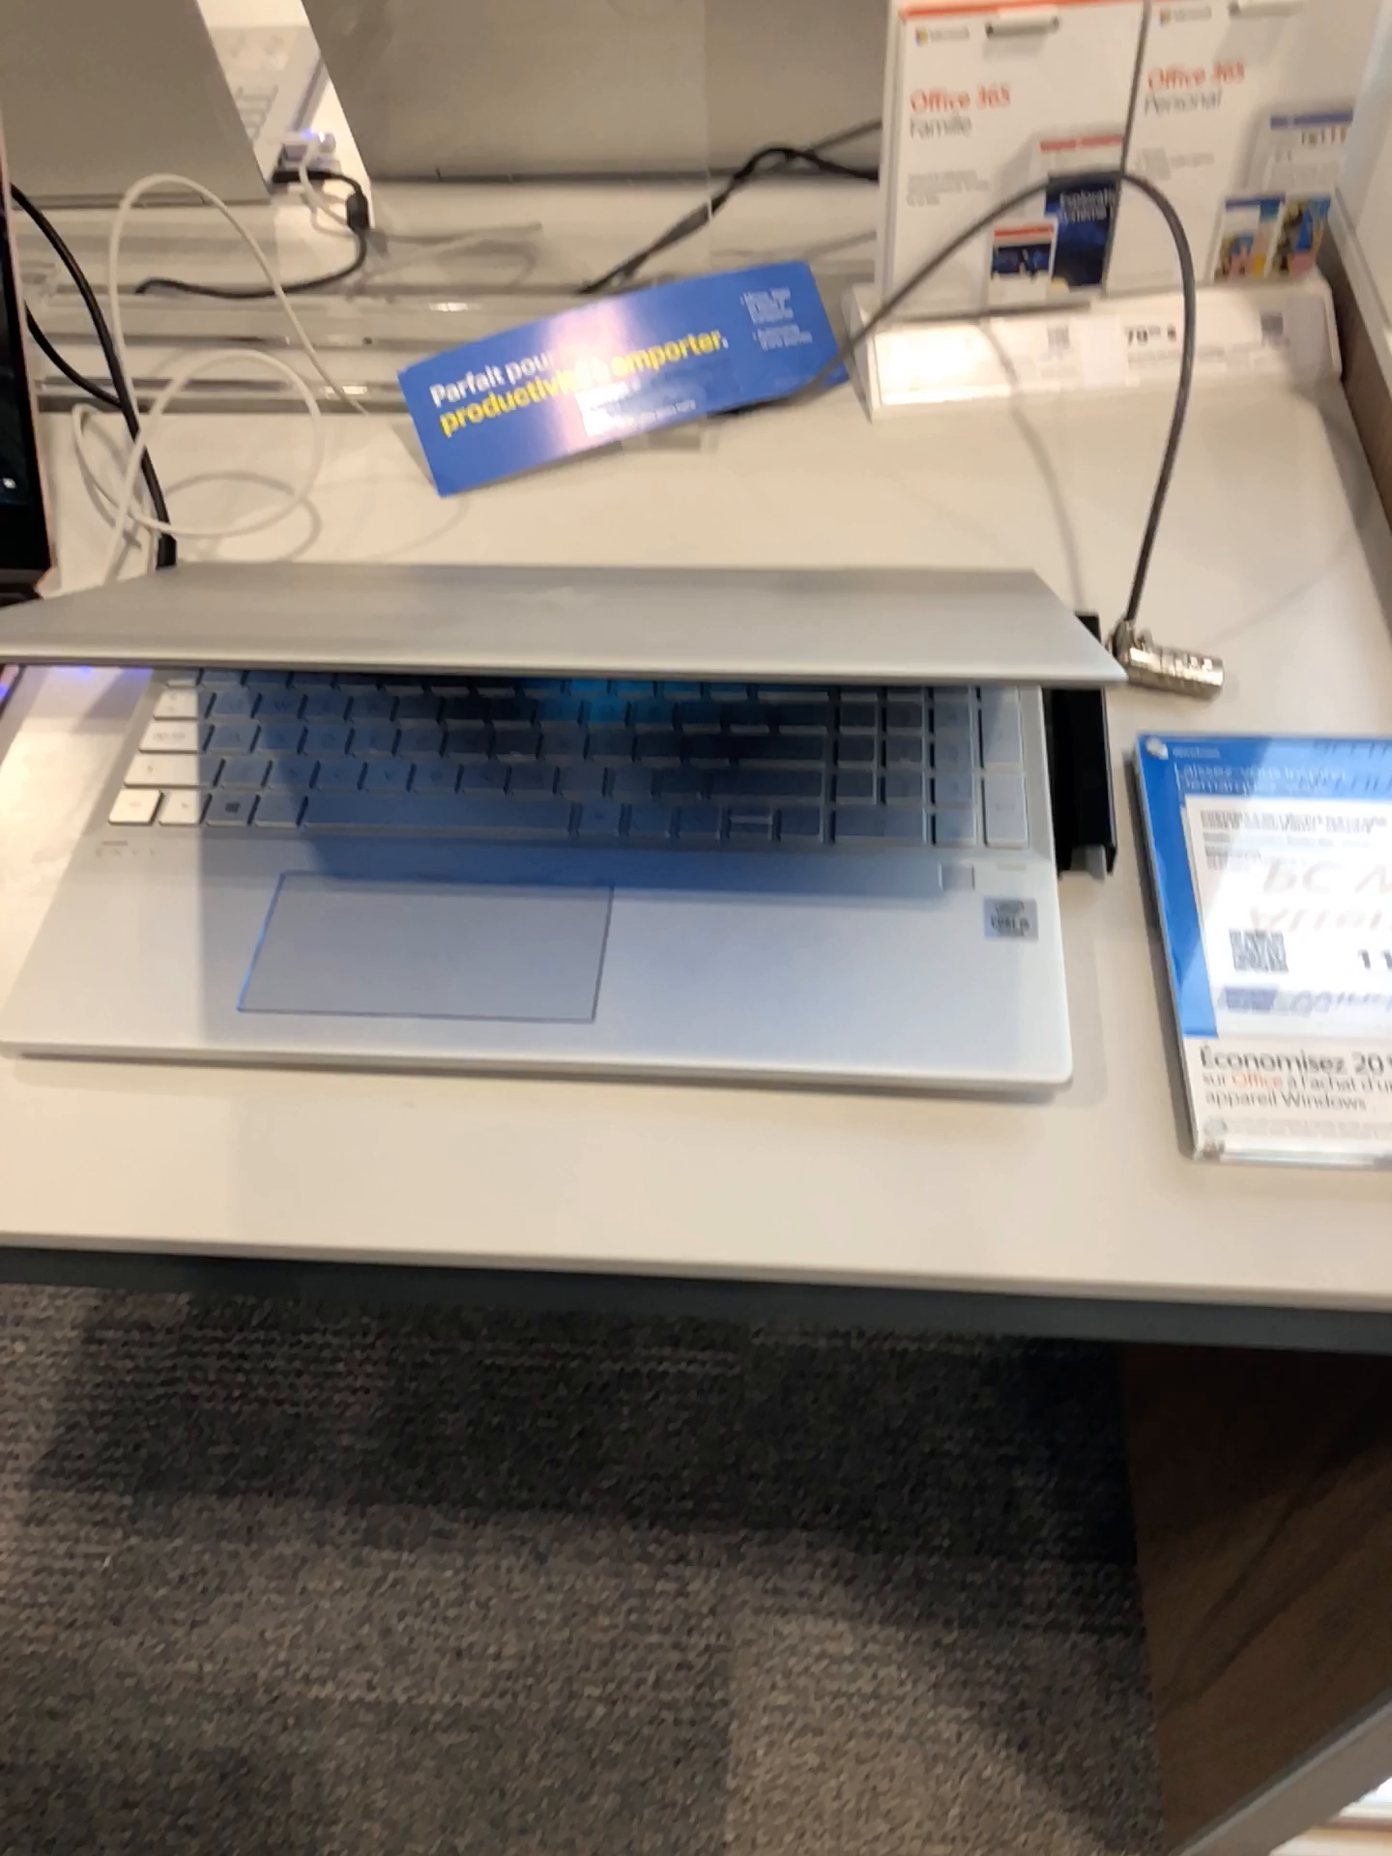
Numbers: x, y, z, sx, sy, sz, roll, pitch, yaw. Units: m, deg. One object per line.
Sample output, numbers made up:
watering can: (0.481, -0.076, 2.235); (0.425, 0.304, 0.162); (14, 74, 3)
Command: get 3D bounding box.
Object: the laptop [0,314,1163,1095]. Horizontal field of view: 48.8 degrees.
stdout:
laptop: (-0.046, -0.085, 0.509); (0.346, 0.116, 0.230); (2, 53, 7)
